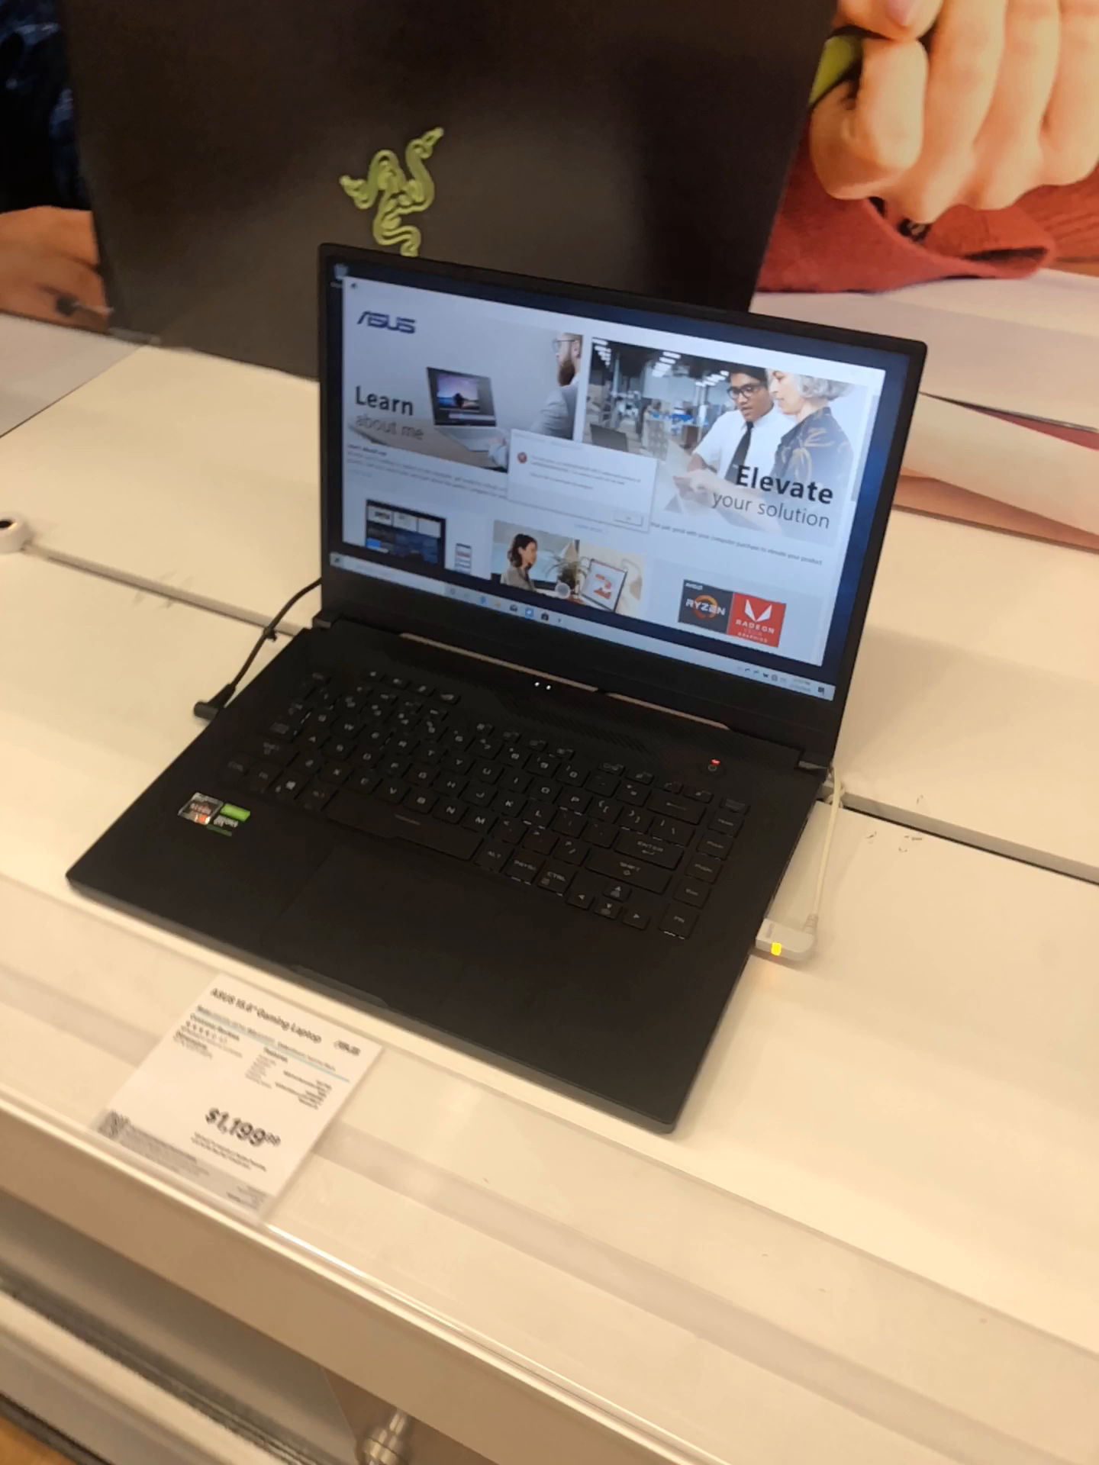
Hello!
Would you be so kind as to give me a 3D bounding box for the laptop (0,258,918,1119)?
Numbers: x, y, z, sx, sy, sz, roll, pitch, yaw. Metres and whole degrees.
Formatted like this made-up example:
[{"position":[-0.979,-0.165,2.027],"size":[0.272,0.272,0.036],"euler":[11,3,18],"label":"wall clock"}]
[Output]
[{"position":[-0.043,-0.053,0.618],"size":[0.351,0.222,0.311],"euler":[17,46,20],"label":"laptop"}]
